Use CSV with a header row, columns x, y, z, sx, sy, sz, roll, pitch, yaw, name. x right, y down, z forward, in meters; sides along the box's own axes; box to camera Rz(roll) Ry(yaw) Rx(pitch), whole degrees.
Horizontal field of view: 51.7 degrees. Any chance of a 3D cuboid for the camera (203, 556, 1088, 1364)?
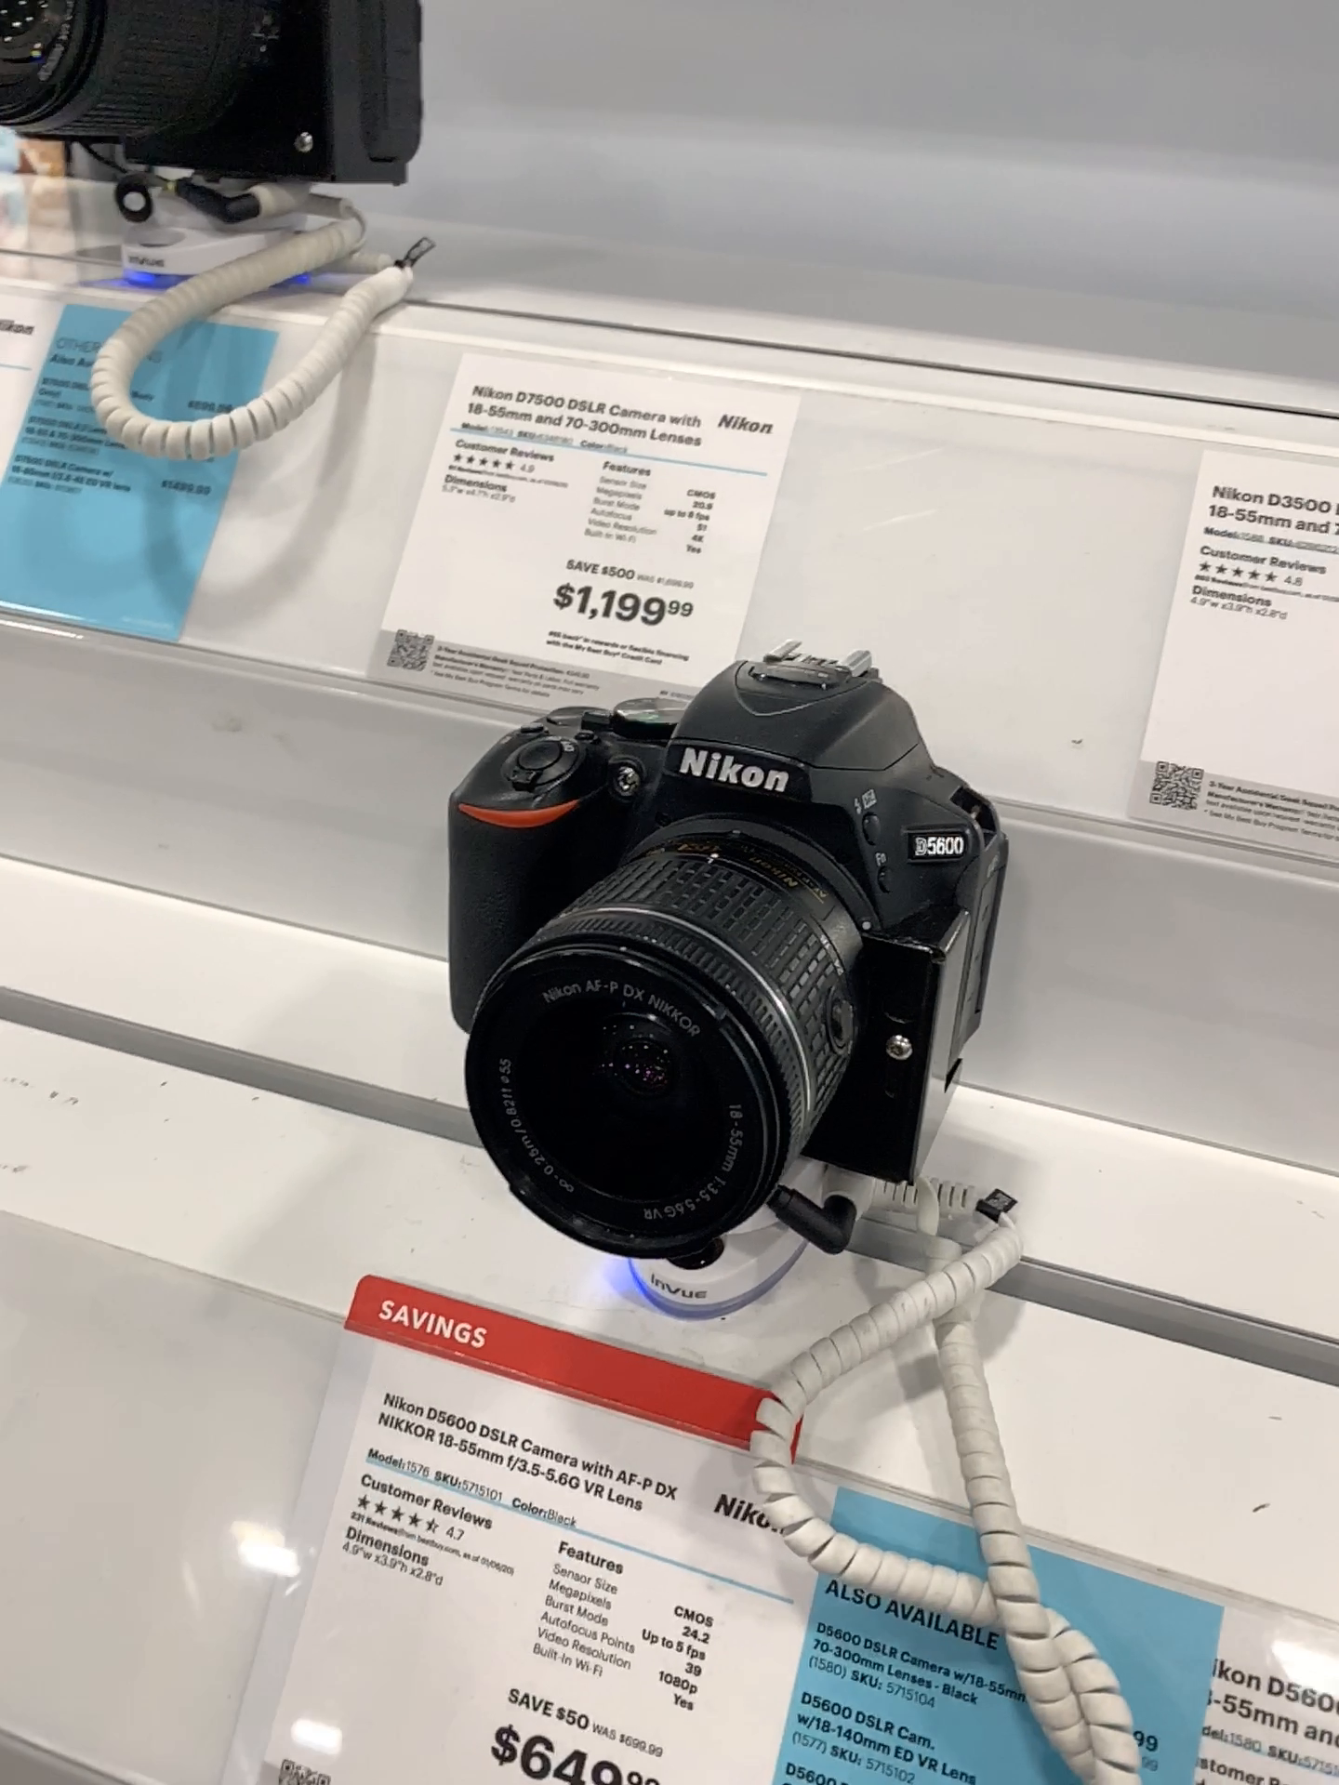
x,y,z,sx,sy,sz,roll,pitch,yaw,name
0.002,-0.001,0.276,0.130,0.090,0.120,14,27,16,camera
